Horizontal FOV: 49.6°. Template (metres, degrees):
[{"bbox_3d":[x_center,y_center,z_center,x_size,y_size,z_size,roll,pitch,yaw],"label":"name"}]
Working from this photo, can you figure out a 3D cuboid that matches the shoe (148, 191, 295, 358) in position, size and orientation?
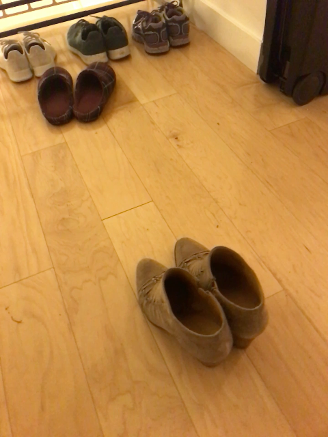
[{"bbox_3d":[0.085,0.086,0.618,0.110,0.109,0.251,-26,53,-16],"label":"shoe"}]

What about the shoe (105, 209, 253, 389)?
[{"bbox_3d":[0.015,0.121,0.587,0.110,0.109,0.251,-27,53,-17],"label":"shoe"}]
